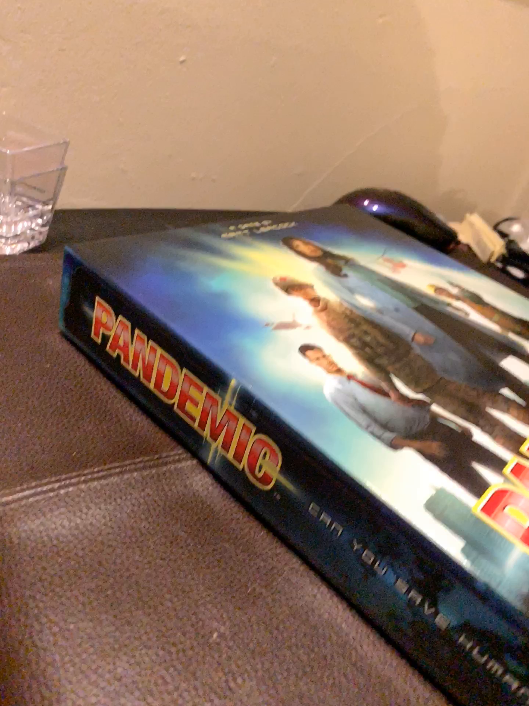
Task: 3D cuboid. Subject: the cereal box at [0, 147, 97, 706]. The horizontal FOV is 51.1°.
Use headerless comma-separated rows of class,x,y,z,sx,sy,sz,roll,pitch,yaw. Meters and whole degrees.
cereal box,-0.621,0.336,0.776,0.510,0.995,0.473,18,33,2
